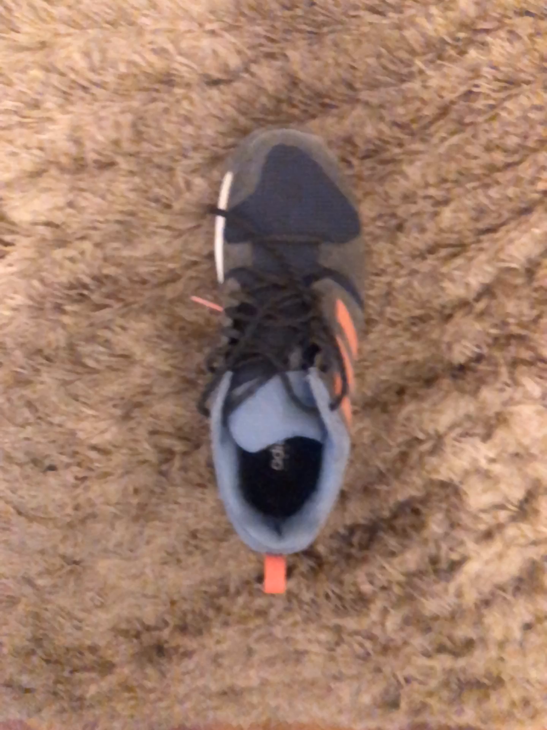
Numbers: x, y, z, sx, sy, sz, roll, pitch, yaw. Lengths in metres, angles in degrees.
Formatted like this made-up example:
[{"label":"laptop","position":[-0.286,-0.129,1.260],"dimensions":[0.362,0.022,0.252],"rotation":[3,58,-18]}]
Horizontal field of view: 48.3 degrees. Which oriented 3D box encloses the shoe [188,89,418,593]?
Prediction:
[{"label":"shoe","position":[0.011,-0.013,0.389],"dimensions":[0.113,0.110,0.275],"rotation":[2,101,0]}]
